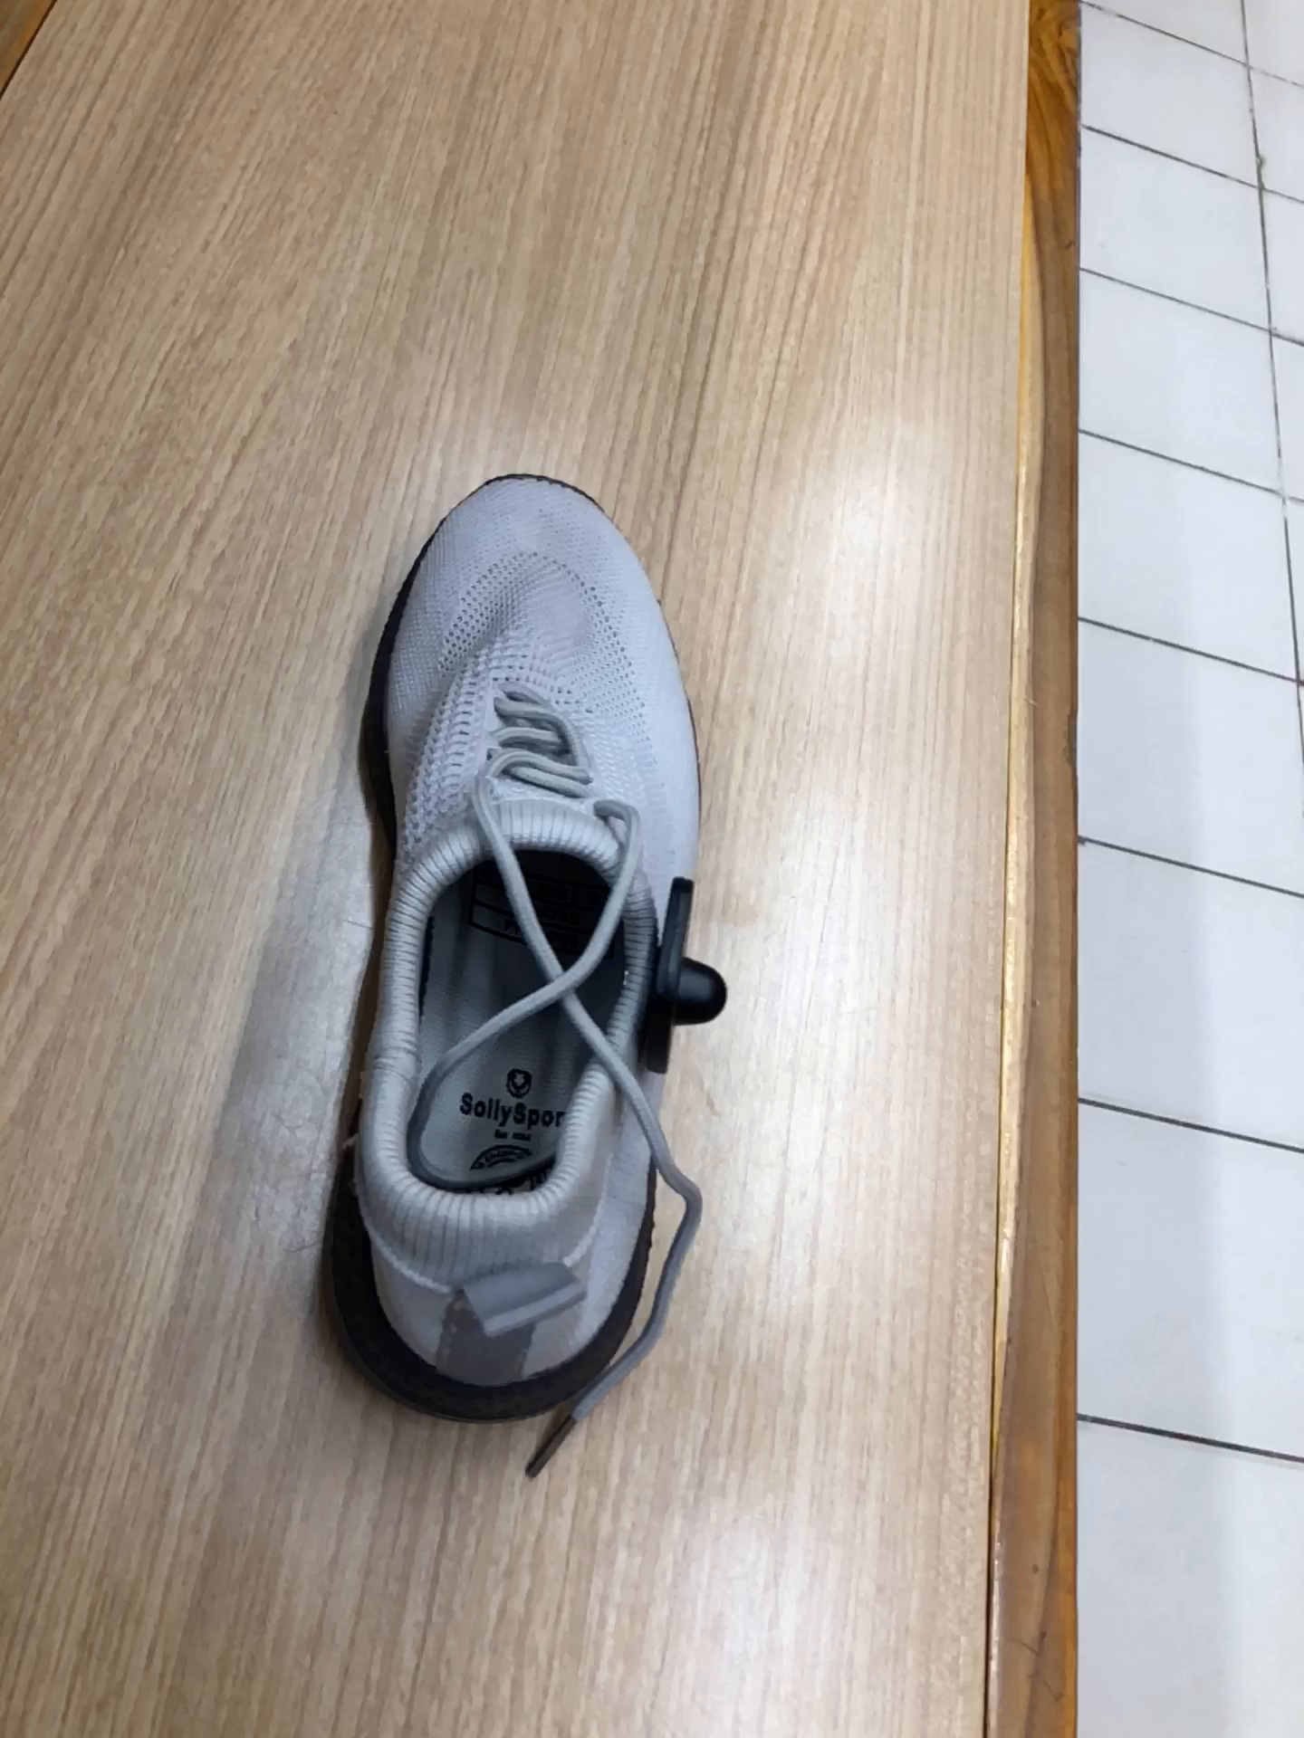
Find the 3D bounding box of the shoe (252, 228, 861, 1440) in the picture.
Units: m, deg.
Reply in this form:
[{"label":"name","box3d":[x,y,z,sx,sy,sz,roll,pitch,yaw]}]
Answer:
[{"label":"shoe","box3d":[-0.024,-0.006,0.360,0.106,0.122,0.265,8,63,-12]}]
